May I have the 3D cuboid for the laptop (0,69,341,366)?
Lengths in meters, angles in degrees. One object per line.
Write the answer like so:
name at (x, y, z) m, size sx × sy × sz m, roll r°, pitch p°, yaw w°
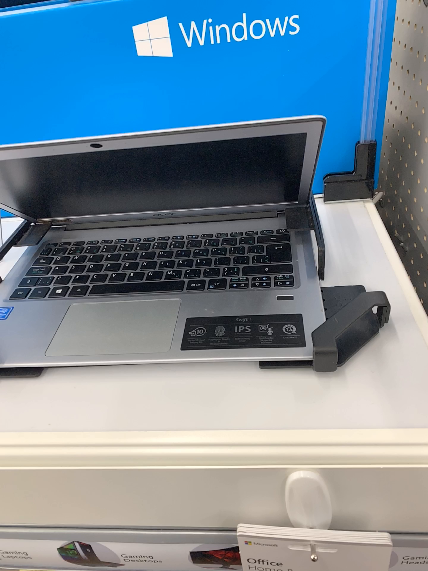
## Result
laptop at (-0.071, -0.064, 0.368) m, size 0.305 × 0.141 × 0.214 m, roll -3°, pitch 37°, yaw 8°
